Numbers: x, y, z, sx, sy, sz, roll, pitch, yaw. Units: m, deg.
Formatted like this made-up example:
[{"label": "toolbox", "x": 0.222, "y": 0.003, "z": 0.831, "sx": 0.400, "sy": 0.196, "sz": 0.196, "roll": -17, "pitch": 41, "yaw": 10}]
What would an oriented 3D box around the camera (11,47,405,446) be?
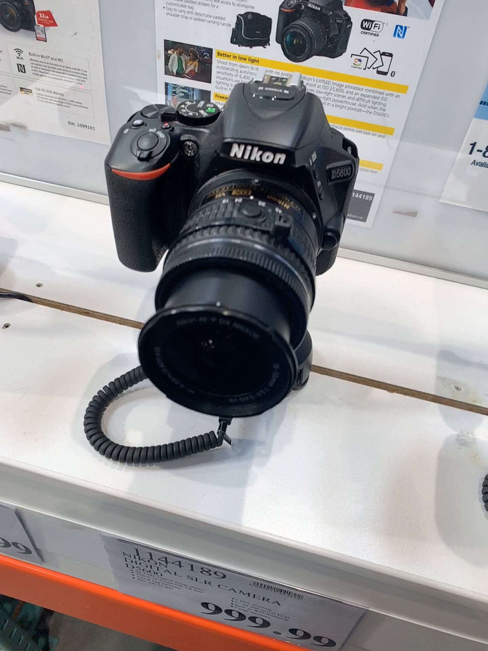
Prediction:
[{"label": "camera", "x": -0.002, "y": -0.043, "z": 0.219, "sx": 0.111, "sy": 0.090, "sz": 0.141, "roll": 11, "pitch": 45, "yaw": 4}]
